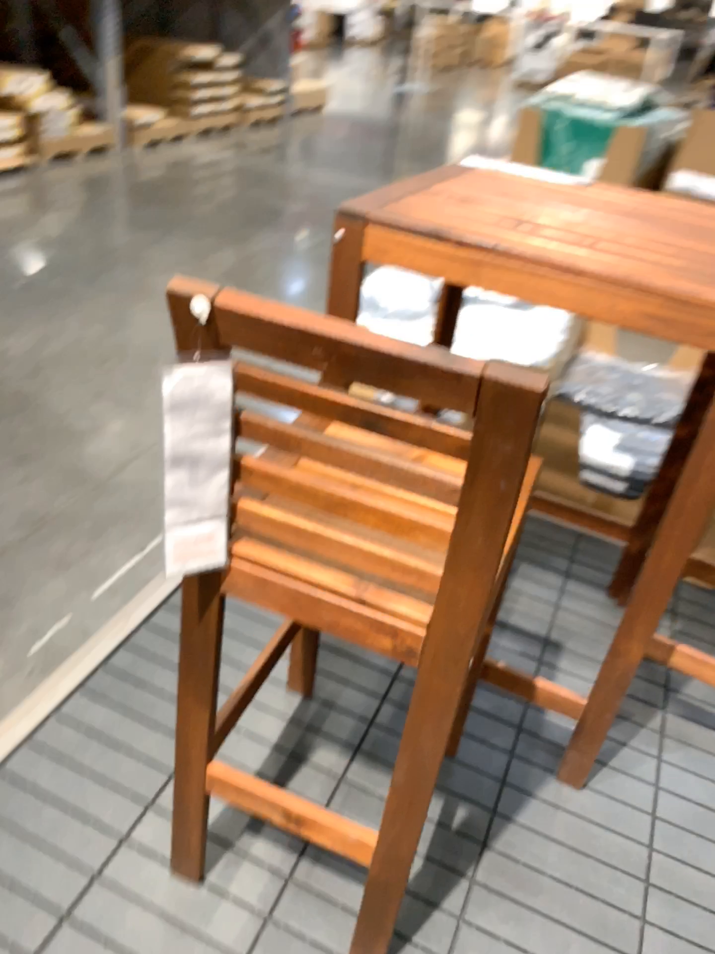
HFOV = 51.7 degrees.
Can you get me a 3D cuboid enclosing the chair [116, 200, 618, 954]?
[{"bbox_3d":[0.004,0.181,1.127,0.430,0.995,0.522,18,34,14],"label":"chair"}]
